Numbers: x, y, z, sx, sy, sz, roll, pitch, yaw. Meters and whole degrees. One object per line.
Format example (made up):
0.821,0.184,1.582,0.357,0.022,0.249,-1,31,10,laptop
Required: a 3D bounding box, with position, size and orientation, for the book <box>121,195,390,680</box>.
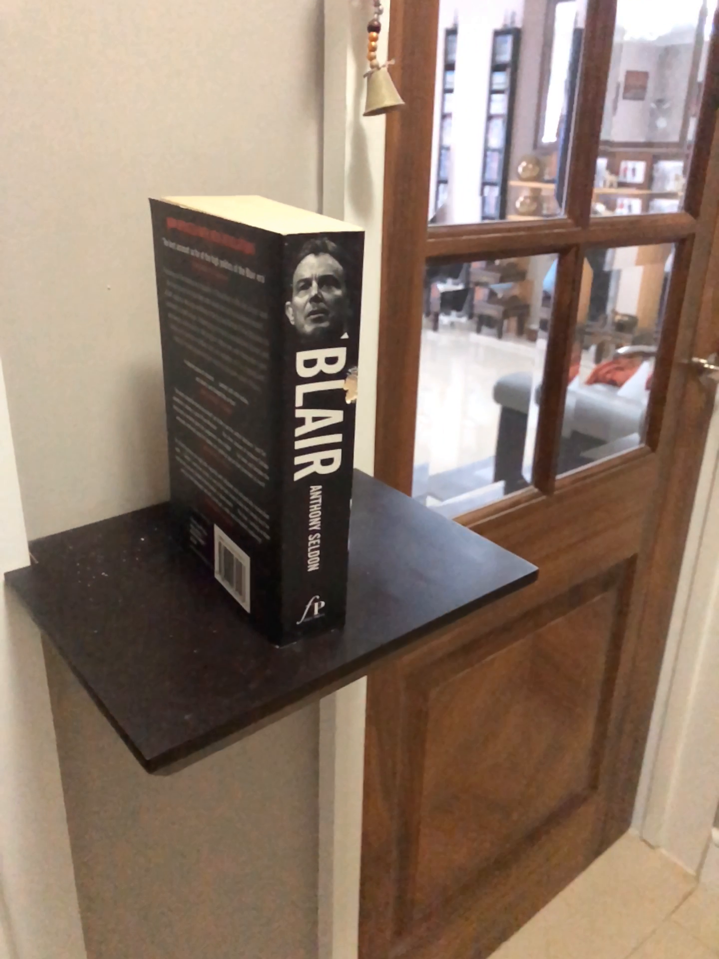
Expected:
-0.061,-0.035,0.423,0.060,0.209,0.171,-12,26,-31,book
